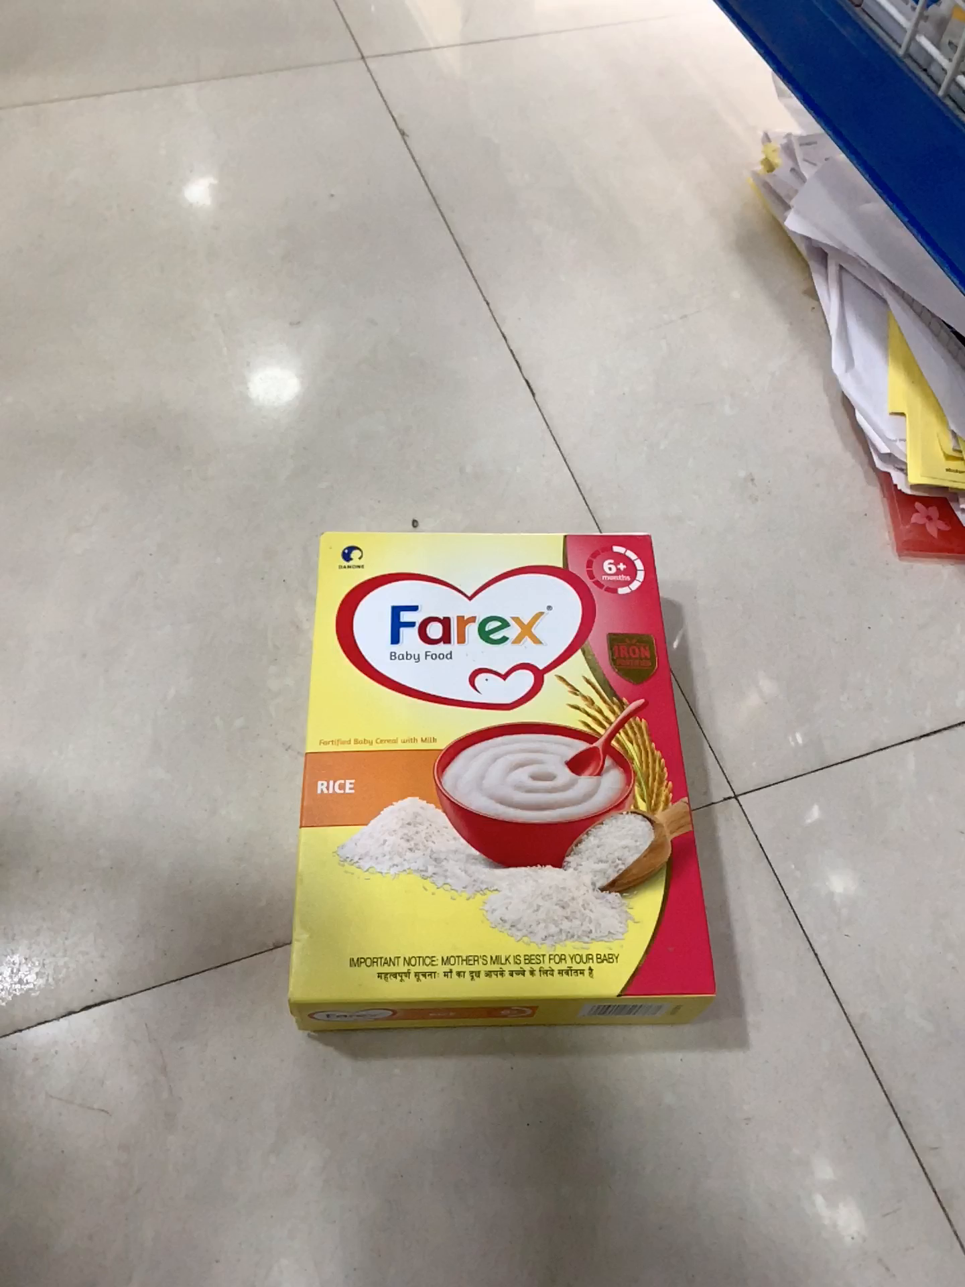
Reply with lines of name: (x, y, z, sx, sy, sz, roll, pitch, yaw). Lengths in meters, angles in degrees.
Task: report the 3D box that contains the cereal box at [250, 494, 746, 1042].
cereal box: (0.001, 0.041, 0.399, 0.160, 0.060, 0.210, 0, 58, -4)
